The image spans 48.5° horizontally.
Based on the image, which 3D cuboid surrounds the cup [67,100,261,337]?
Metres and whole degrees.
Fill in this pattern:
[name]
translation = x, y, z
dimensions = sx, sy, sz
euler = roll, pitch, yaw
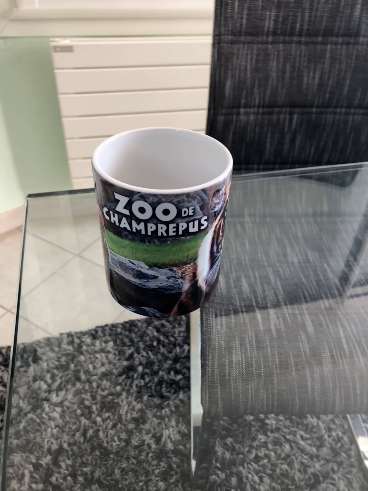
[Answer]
[cup]
translation = -0.021, -0.025, 0.264
dimensions = 0.080, 0.089, 0.120
euler = -11, 41, -17
